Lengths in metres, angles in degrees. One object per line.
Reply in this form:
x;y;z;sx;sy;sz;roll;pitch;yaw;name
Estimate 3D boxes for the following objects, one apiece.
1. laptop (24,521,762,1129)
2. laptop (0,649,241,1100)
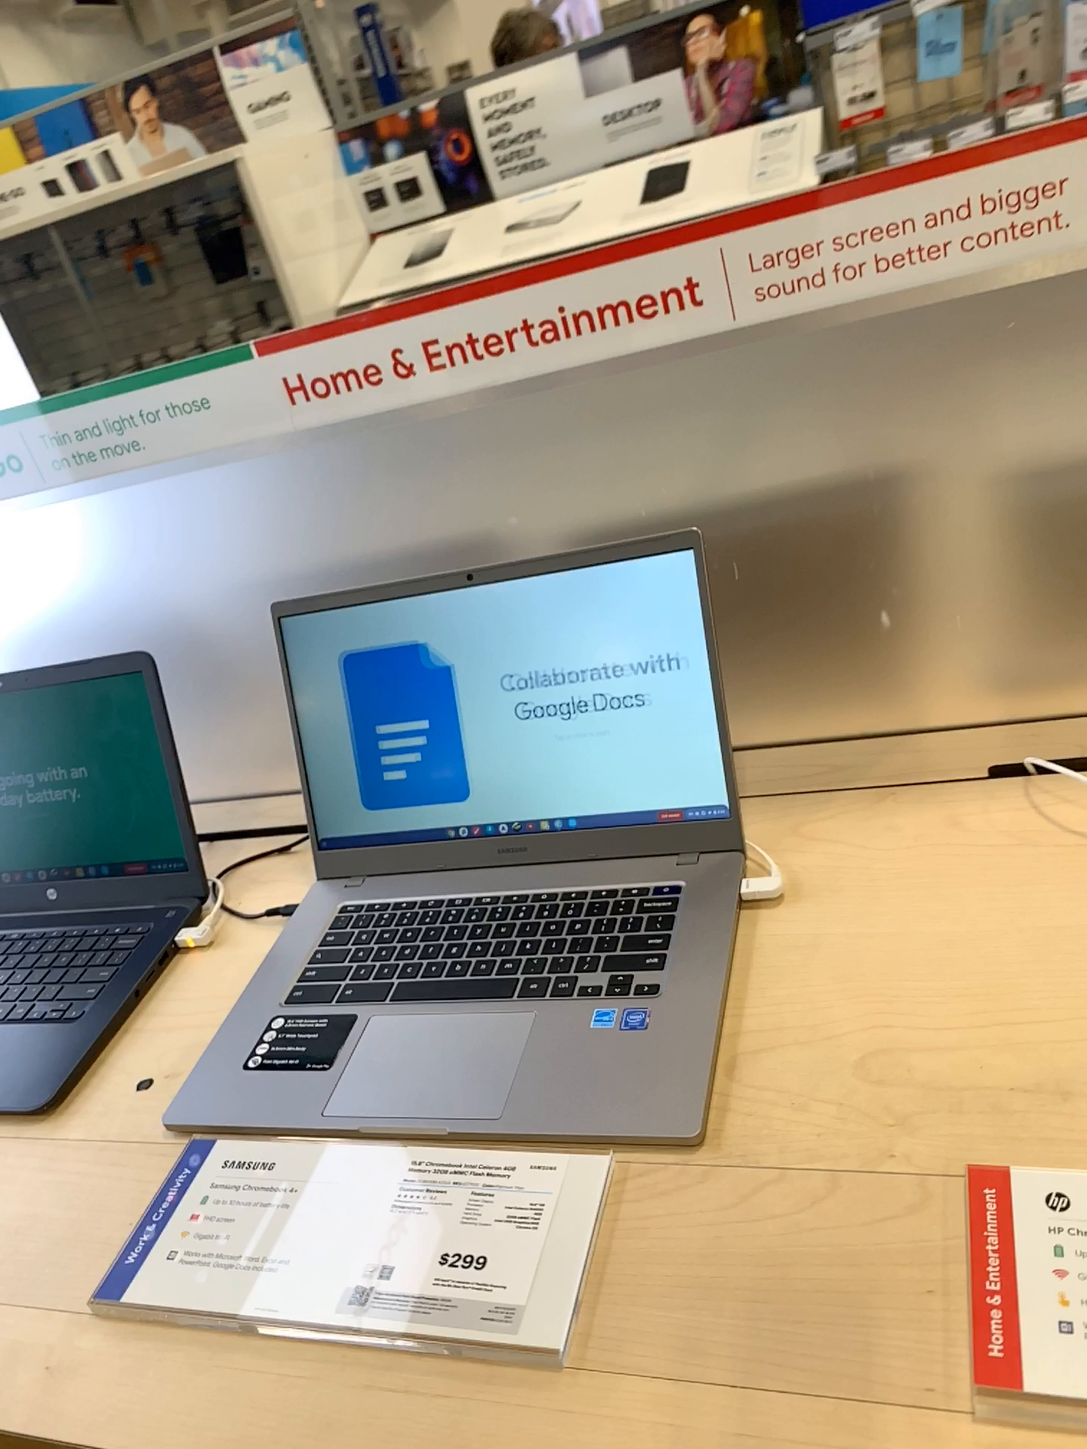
-0.062;0.056;0.730;0.341;0.200;0.326;-7;30;22;laptop
-0.461;0.109;0.870;0.301;0.191;0.288;-7;28;21;laptop
